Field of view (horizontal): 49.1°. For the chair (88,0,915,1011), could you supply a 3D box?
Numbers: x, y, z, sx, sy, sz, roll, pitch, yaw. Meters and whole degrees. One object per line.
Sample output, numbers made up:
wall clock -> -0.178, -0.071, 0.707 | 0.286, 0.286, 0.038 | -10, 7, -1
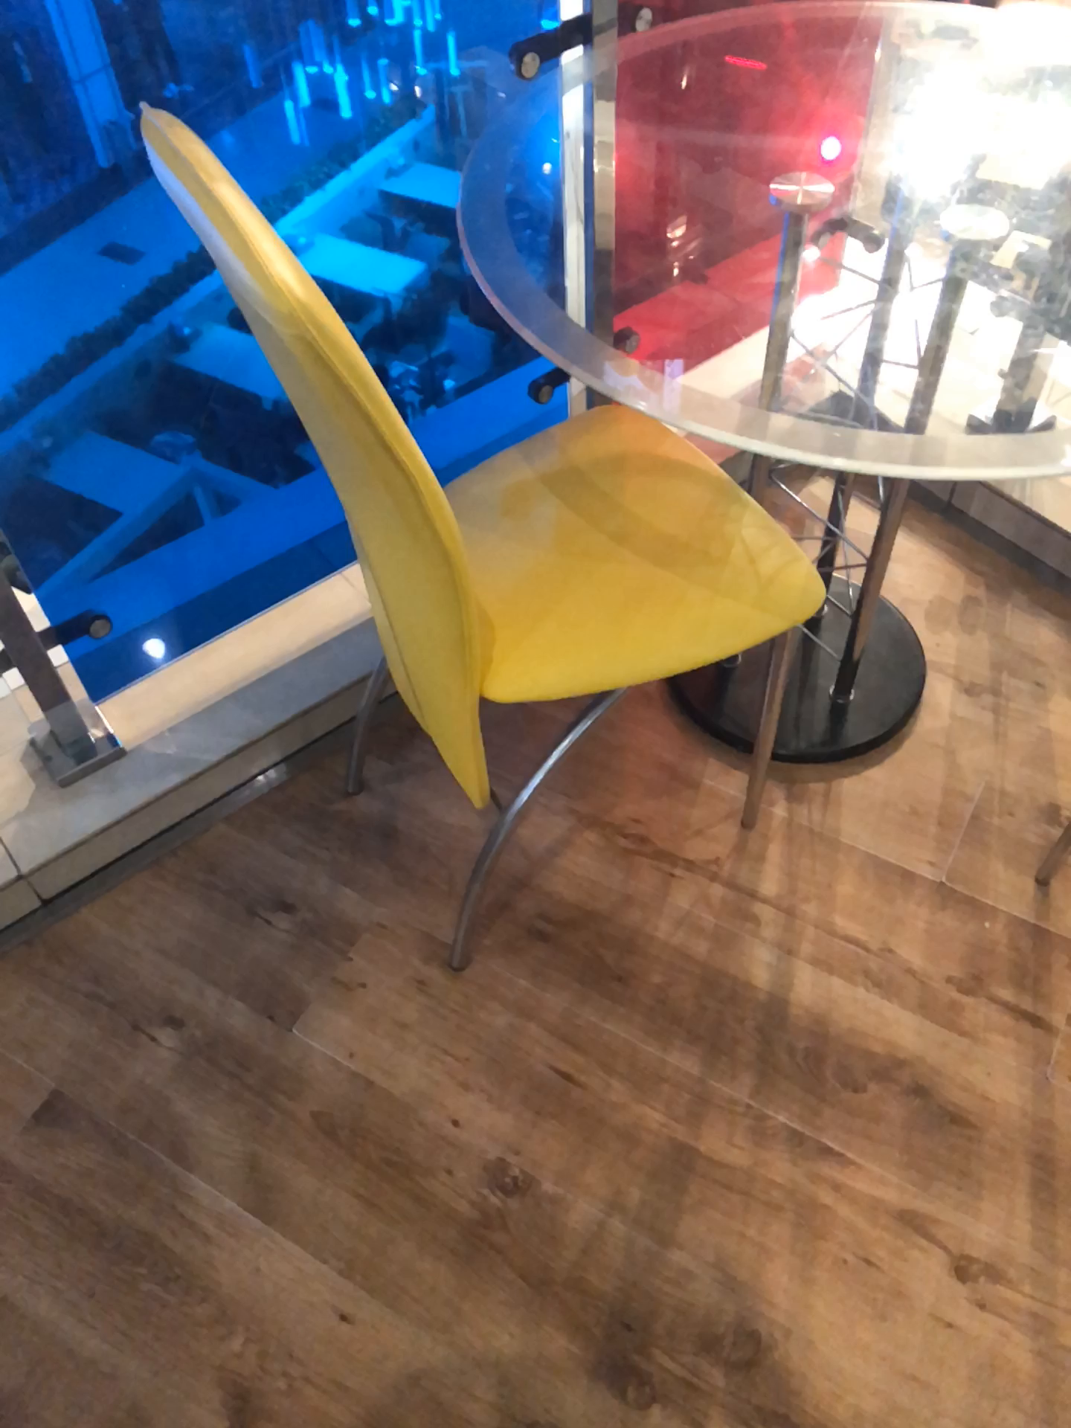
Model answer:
chair -> -0.025, -0.167, 1.251 | 0.490, 0.897, 0.431 | -25, 54, -17
